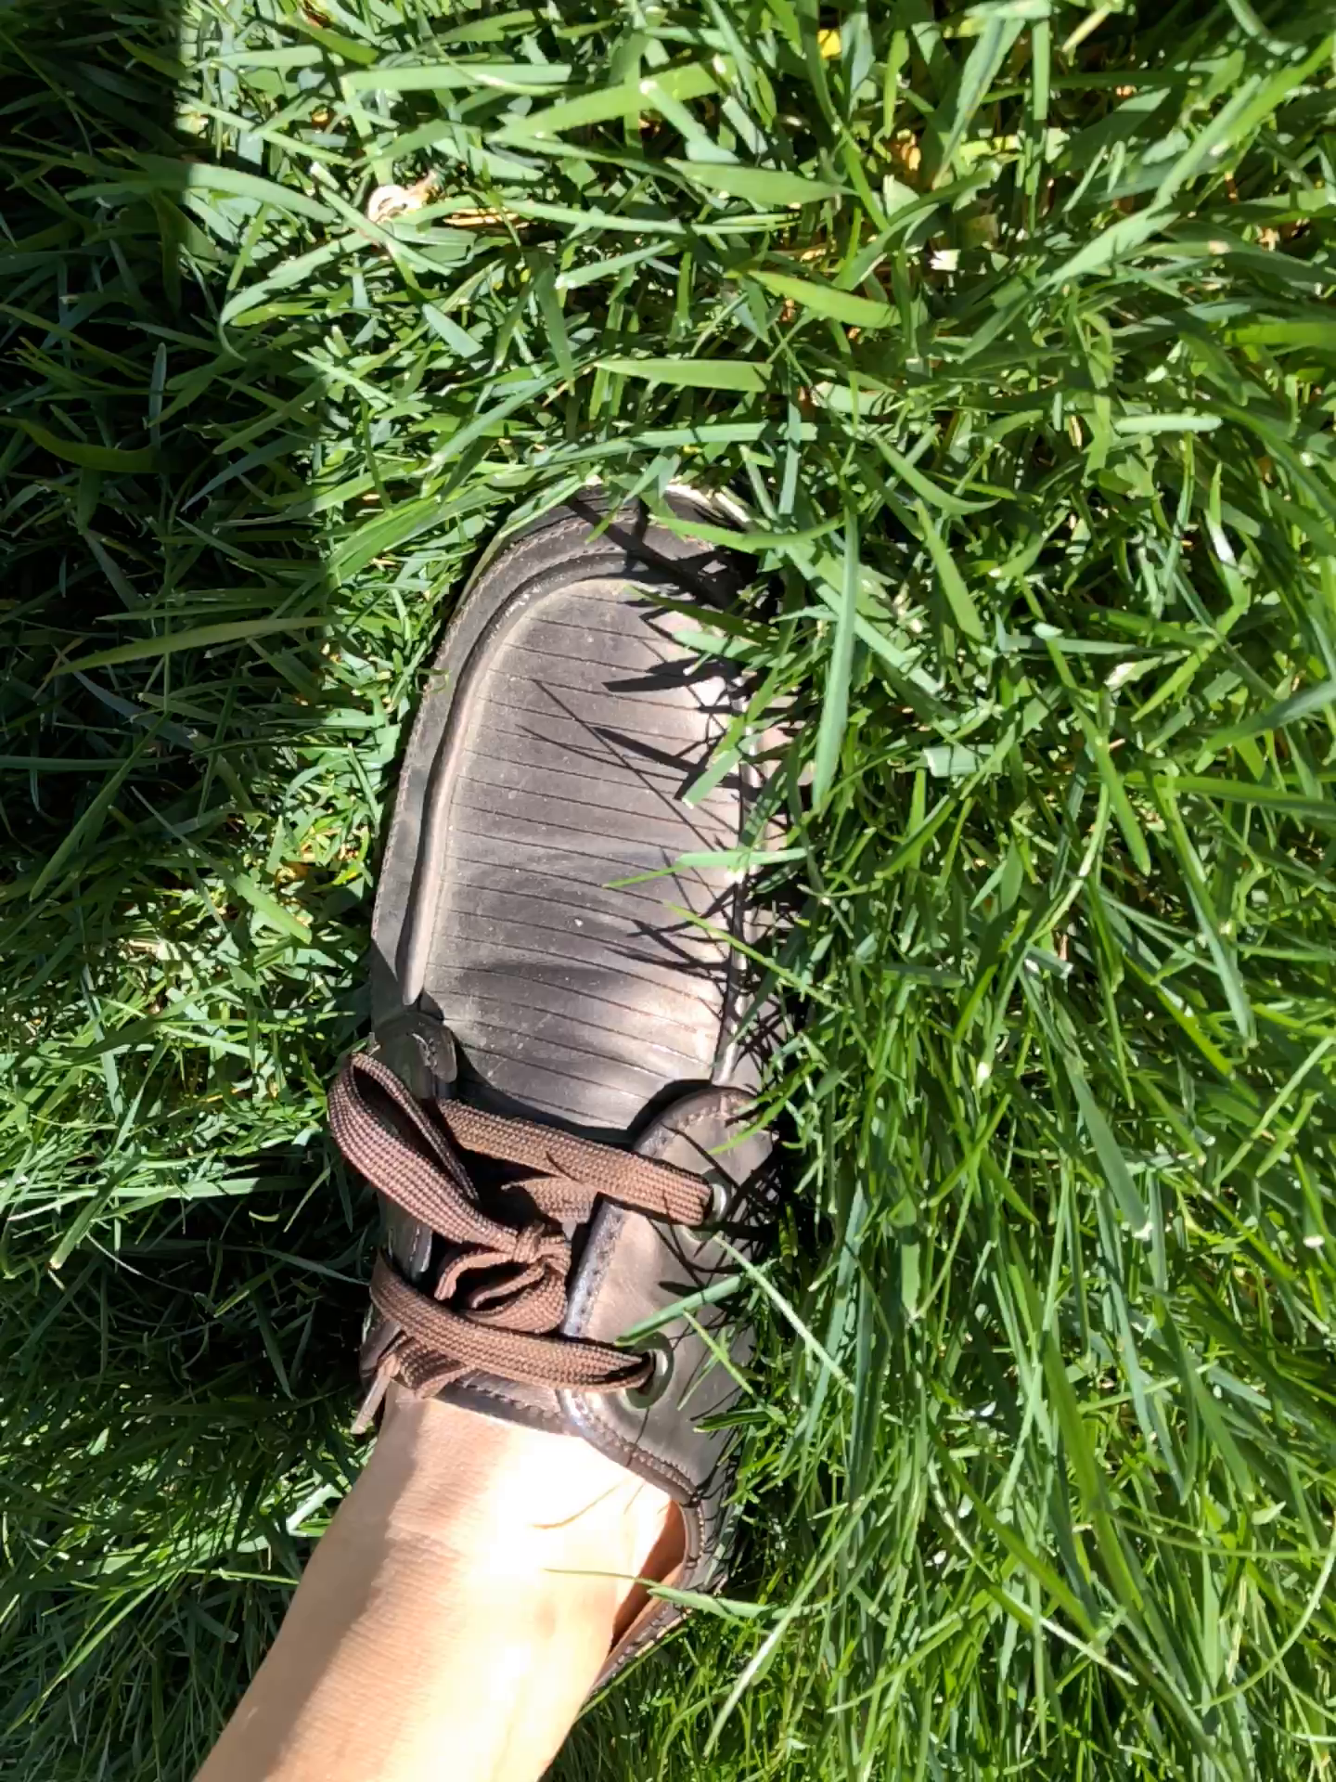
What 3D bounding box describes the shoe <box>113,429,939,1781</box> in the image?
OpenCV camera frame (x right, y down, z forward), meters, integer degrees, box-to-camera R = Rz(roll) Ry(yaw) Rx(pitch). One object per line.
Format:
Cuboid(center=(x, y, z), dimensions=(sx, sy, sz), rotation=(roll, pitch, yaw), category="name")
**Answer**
Cuboid(center=(-0.025, 0.060, 0.300), dimensions=(0.112, 0.093, 0.281), rotation=(10, 113, 13), category="shoe")
